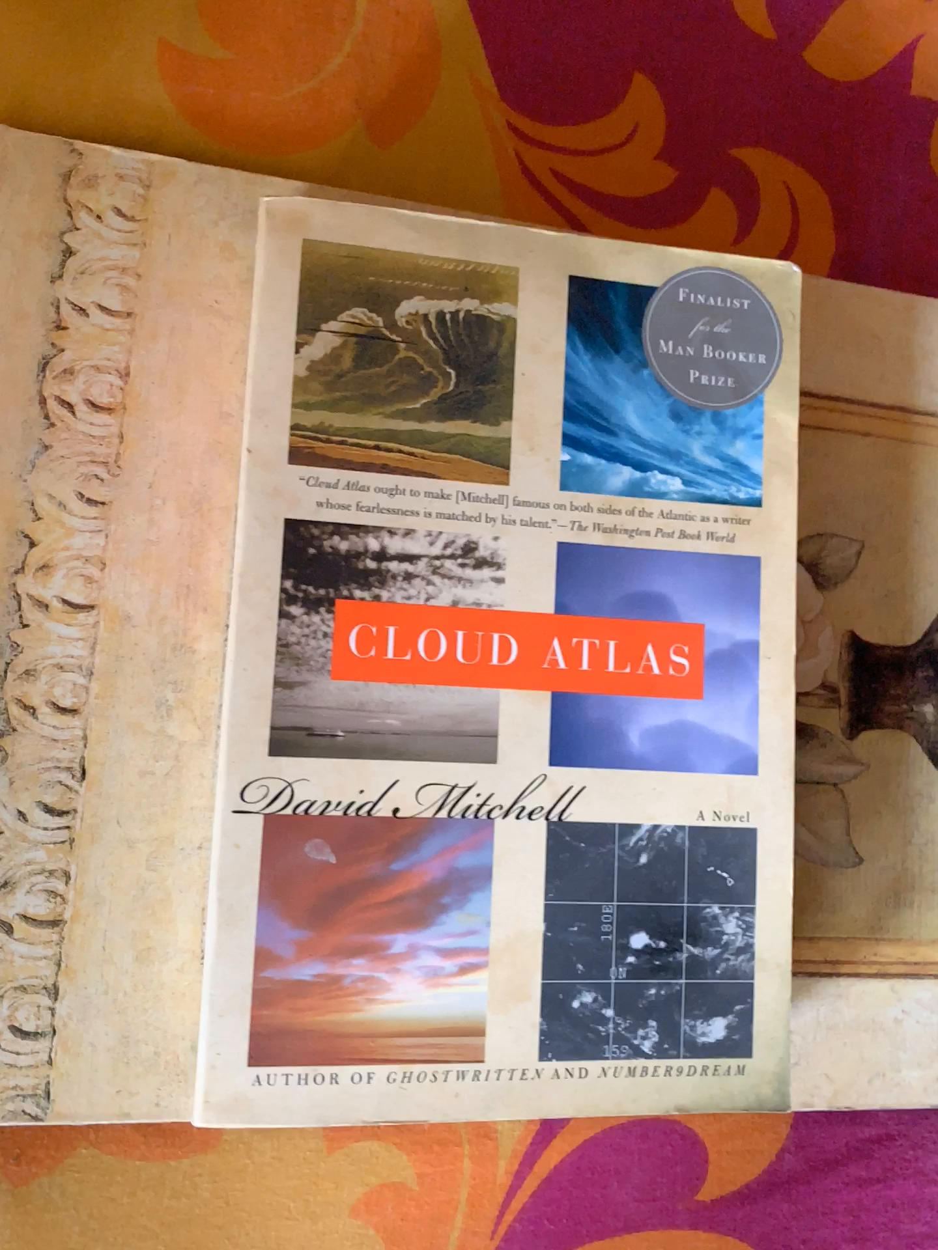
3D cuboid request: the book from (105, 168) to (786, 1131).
[{"bbox_3d":[-0.001,0.006,0.220,0.130,0.040,0.190,4,84,-8],"label":"book"}]
